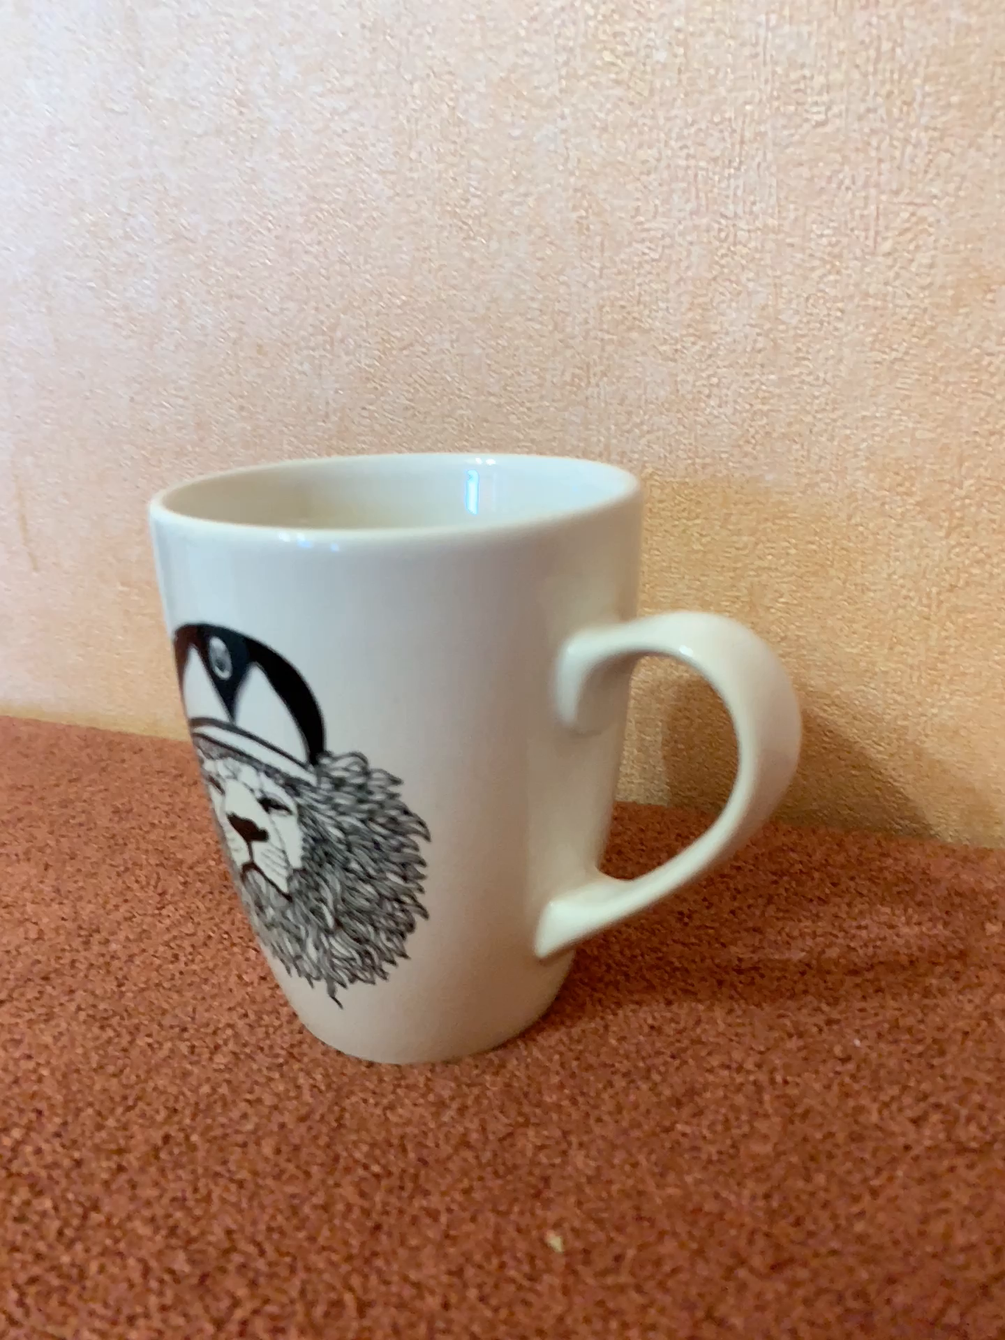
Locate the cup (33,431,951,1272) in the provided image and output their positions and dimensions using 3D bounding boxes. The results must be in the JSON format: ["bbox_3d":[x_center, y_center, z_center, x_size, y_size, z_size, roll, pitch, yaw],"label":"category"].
[{"bbox_3d":[0.003,0.010,0.200,0.126,0.095,0.106,10,24,36],"label":"cup"}]
